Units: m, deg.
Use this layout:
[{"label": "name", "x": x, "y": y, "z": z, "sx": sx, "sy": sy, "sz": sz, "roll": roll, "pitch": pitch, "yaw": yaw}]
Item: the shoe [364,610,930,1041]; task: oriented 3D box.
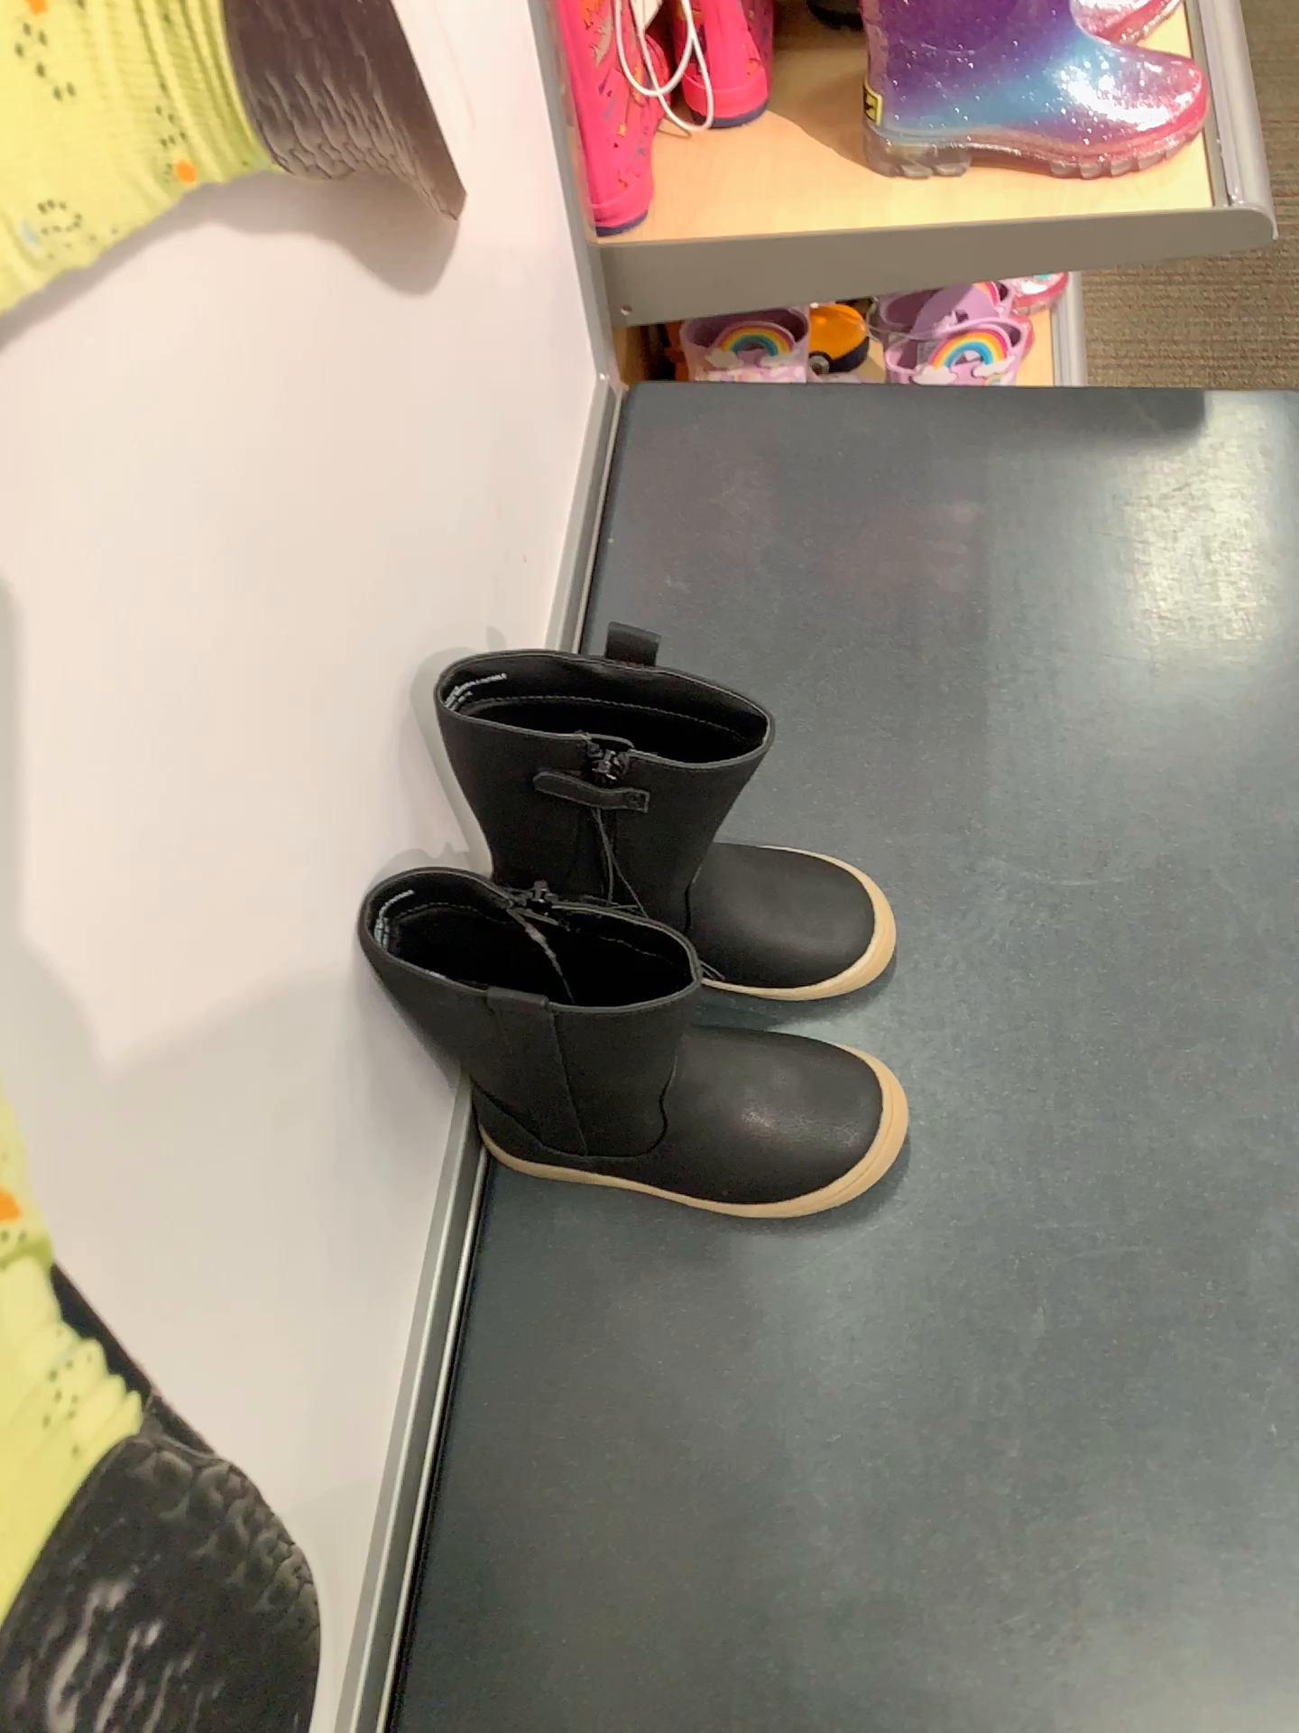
[{"label": "shoe", "x": 0.011, "y": -0.008, "z": 0.552, "sx": 0.190, "sy": 0.199, "sz": 0.080, "roll": 4, "pitch": 63, "yaw": 9}]

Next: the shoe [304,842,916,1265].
[{"label": "shoe", "x": -0.001, "y": 0.081, "z": 0.520, "sx": 0.190, "sy": 0.199, "sz": 0.080, "roll": 5, "pitch": 63, "yaw": 10}]
